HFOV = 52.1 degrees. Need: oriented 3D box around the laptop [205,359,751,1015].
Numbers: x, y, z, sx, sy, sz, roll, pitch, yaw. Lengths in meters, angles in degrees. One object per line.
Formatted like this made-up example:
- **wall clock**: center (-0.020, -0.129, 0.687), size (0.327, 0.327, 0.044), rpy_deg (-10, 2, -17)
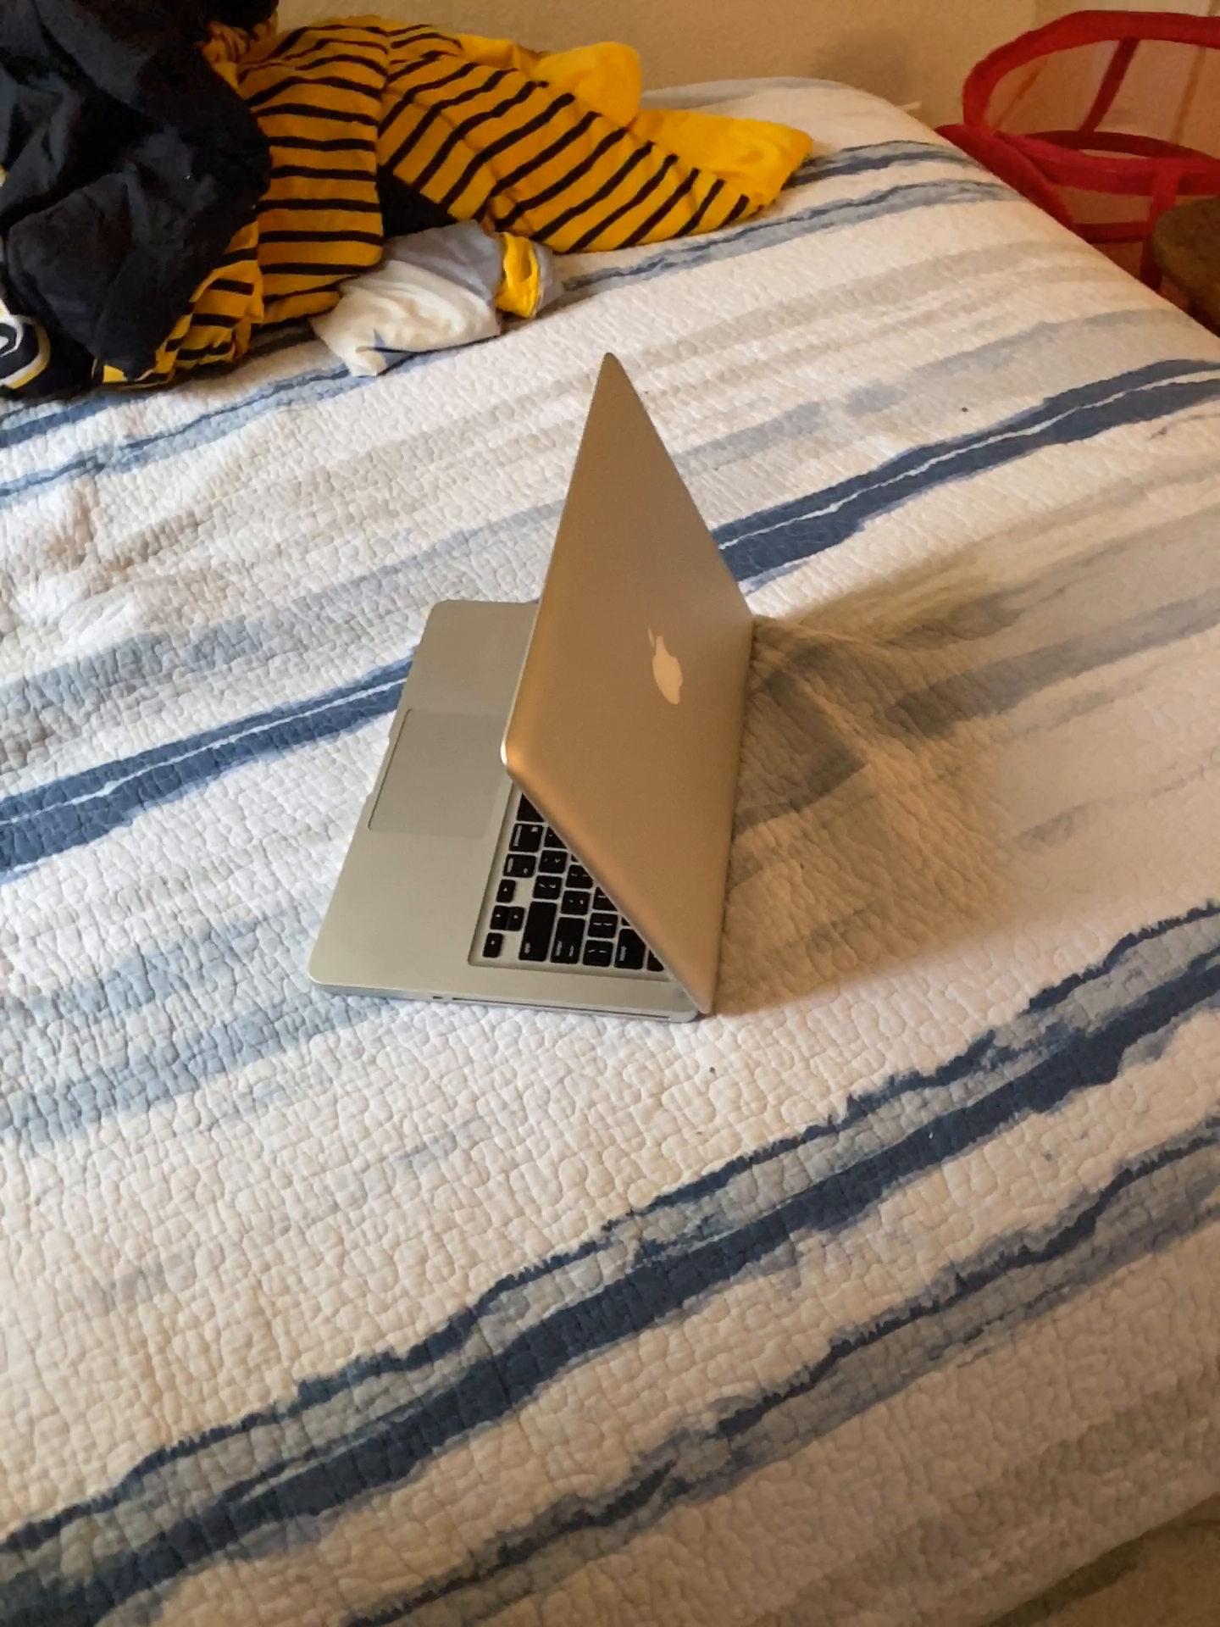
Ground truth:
- **laptop**: center (-0.045, -0.083, 0.707), size (0.220, 0.191, 0.316), rpy_deg (4, 51, 9)
